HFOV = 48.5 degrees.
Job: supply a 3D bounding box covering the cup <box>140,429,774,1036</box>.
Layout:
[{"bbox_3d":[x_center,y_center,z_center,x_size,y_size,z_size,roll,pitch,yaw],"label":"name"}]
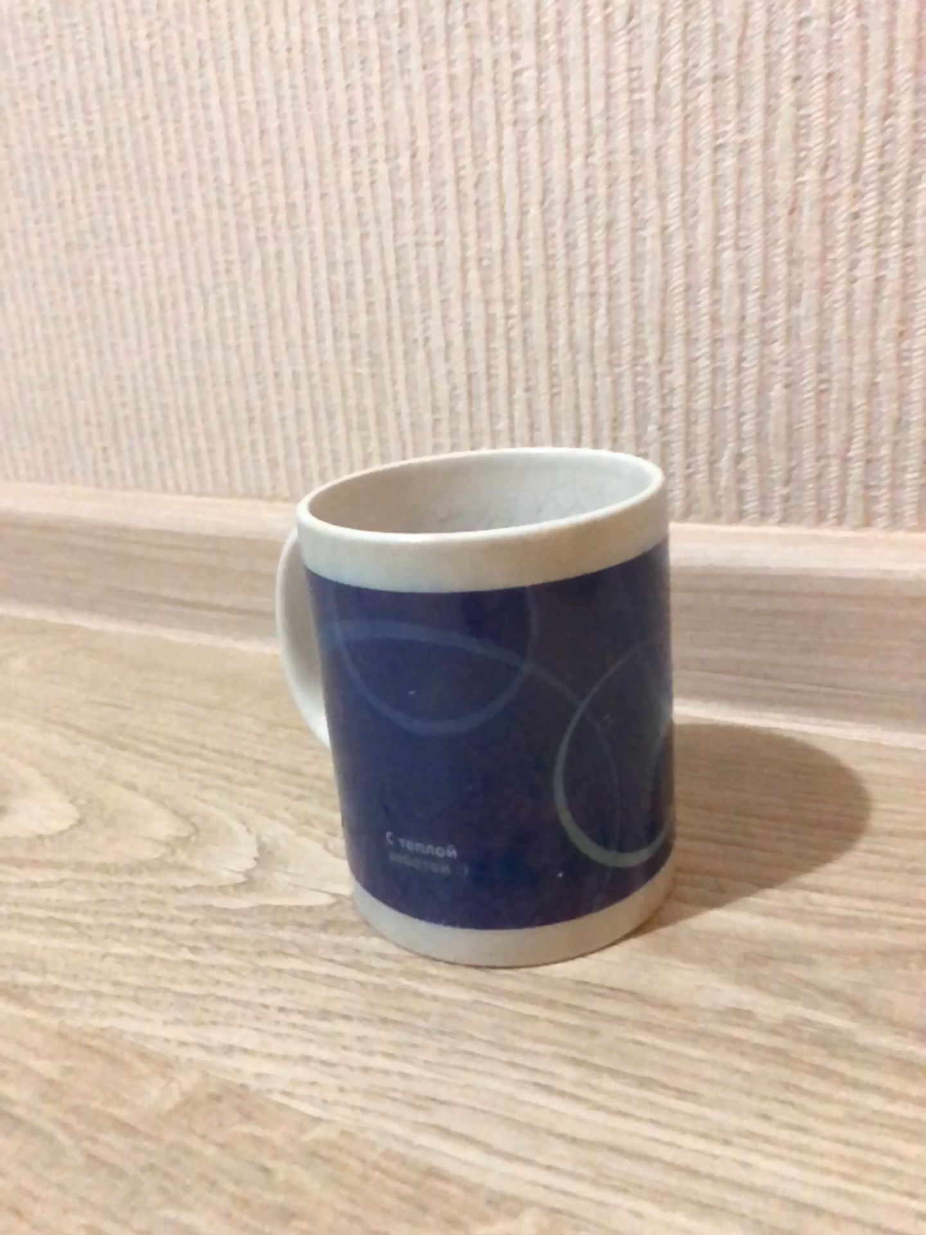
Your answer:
[{"bbox_3d":[-0.001,0.012,0.262,0.123,0.099,0.094,14,26,43],"label":"cup"}]
